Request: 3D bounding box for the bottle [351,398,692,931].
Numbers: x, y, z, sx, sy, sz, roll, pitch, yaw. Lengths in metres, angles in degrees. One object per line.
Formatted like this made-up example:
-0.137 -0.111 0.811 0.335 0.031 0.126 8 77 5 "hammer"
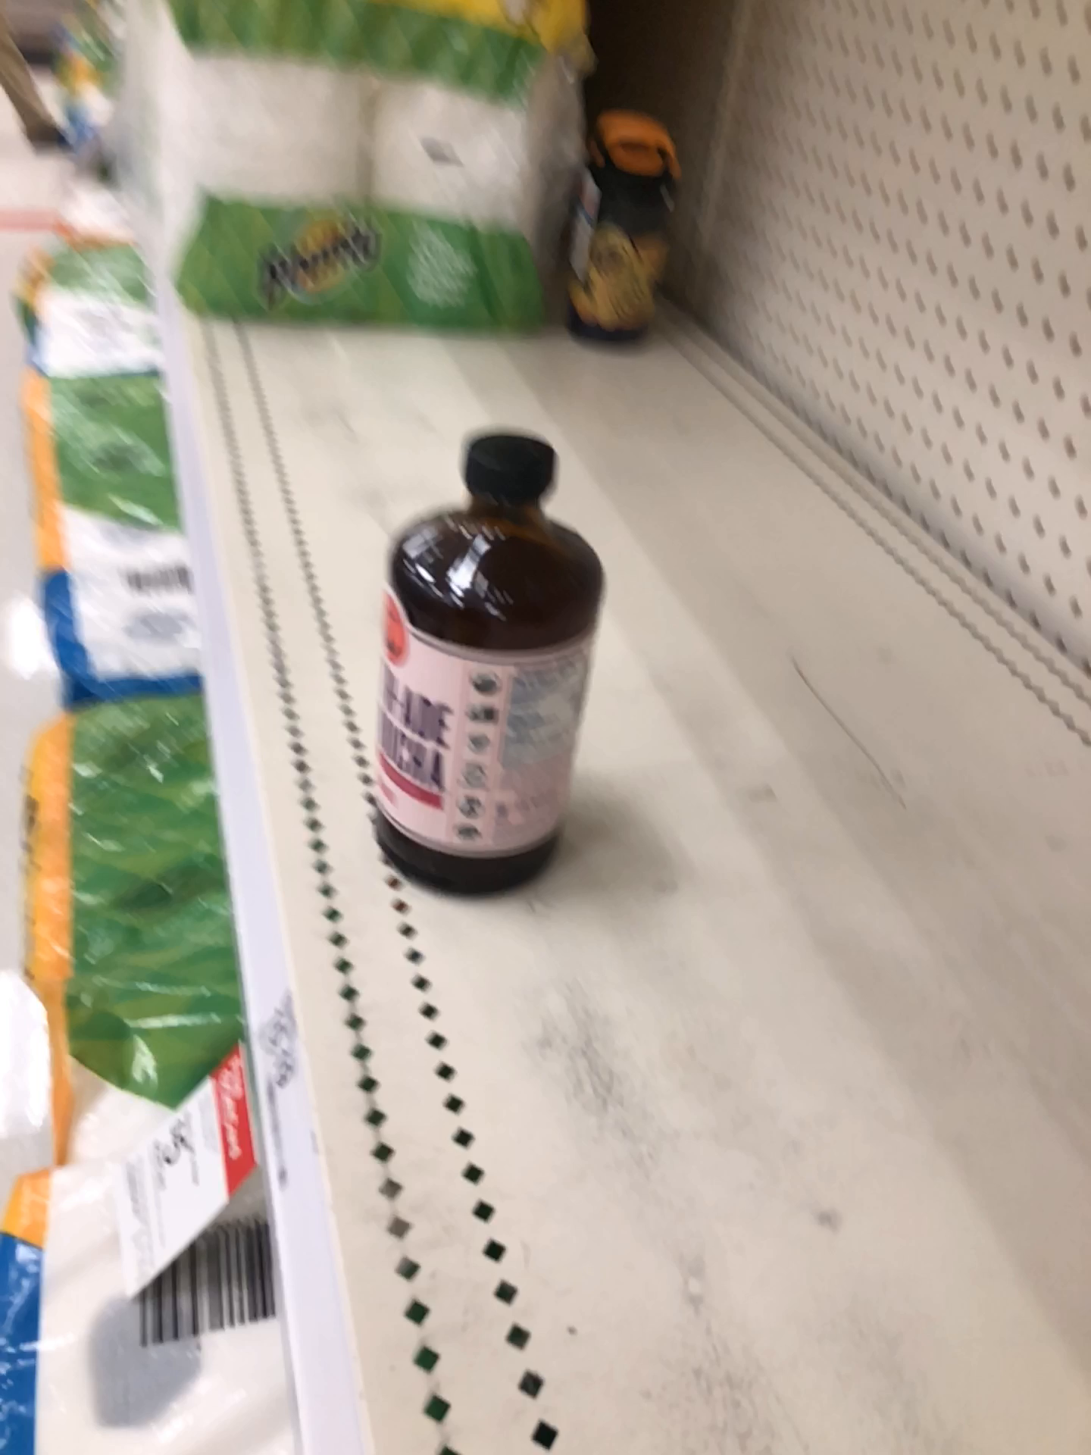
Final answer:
-0.018 -0.023 0.448 0.089 0.169 0.087 5 36 -3 "bottle"
